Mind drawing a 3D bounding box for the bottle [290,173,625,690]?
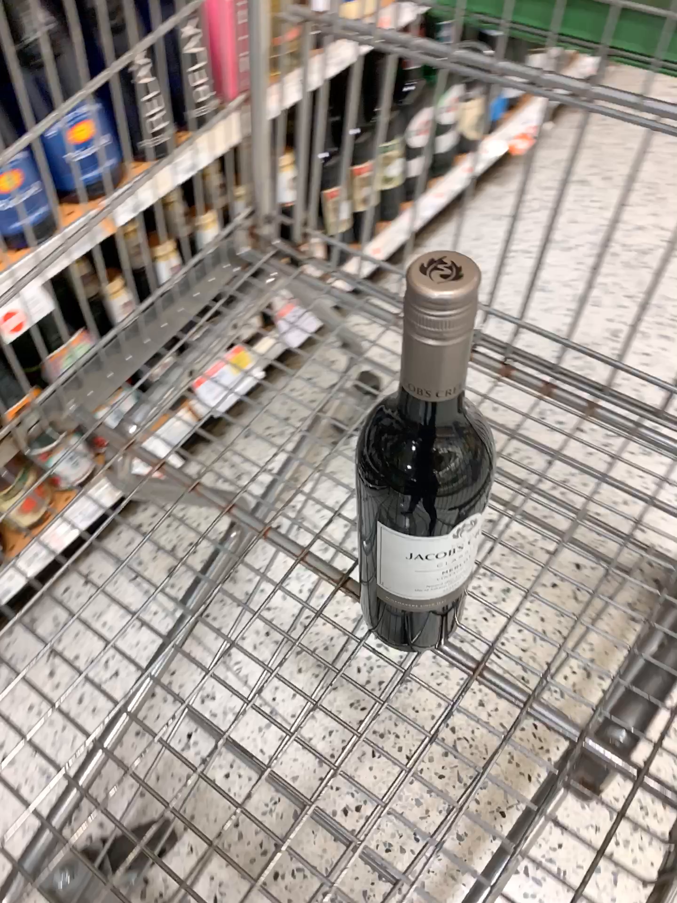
[{"bbox_3d":[0.048,0.023,0.396,0.090,0.317,0.090,-1,54,1],"label":"bottle"}]
